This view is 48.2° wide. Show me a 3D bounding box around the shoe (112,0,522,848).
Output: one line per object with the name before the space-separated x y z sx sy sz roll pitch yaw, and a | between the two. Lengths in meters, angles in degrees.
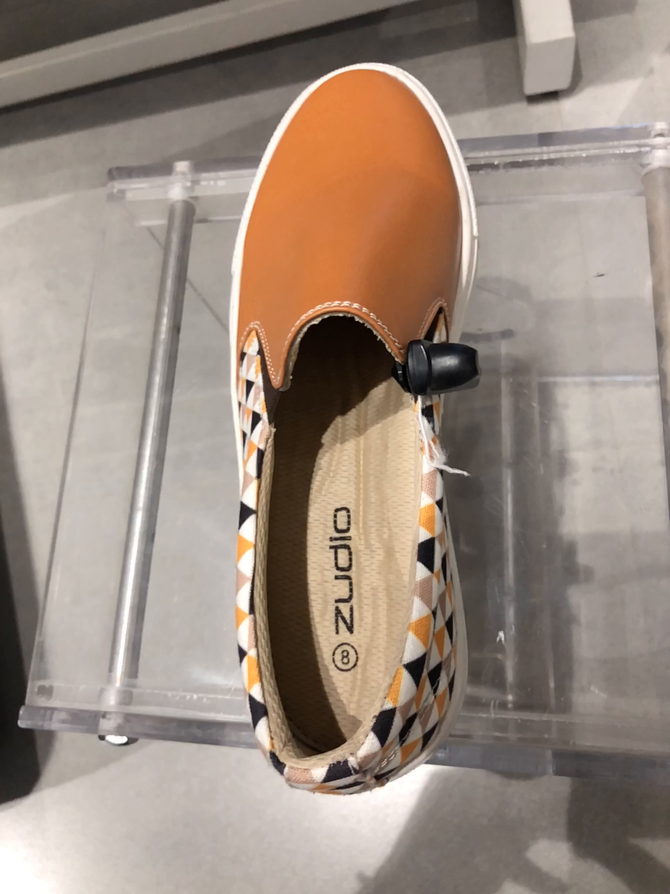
shoe | 0.006 -0.024 0.285 0.110 0.100 0.291 -2 73 11
